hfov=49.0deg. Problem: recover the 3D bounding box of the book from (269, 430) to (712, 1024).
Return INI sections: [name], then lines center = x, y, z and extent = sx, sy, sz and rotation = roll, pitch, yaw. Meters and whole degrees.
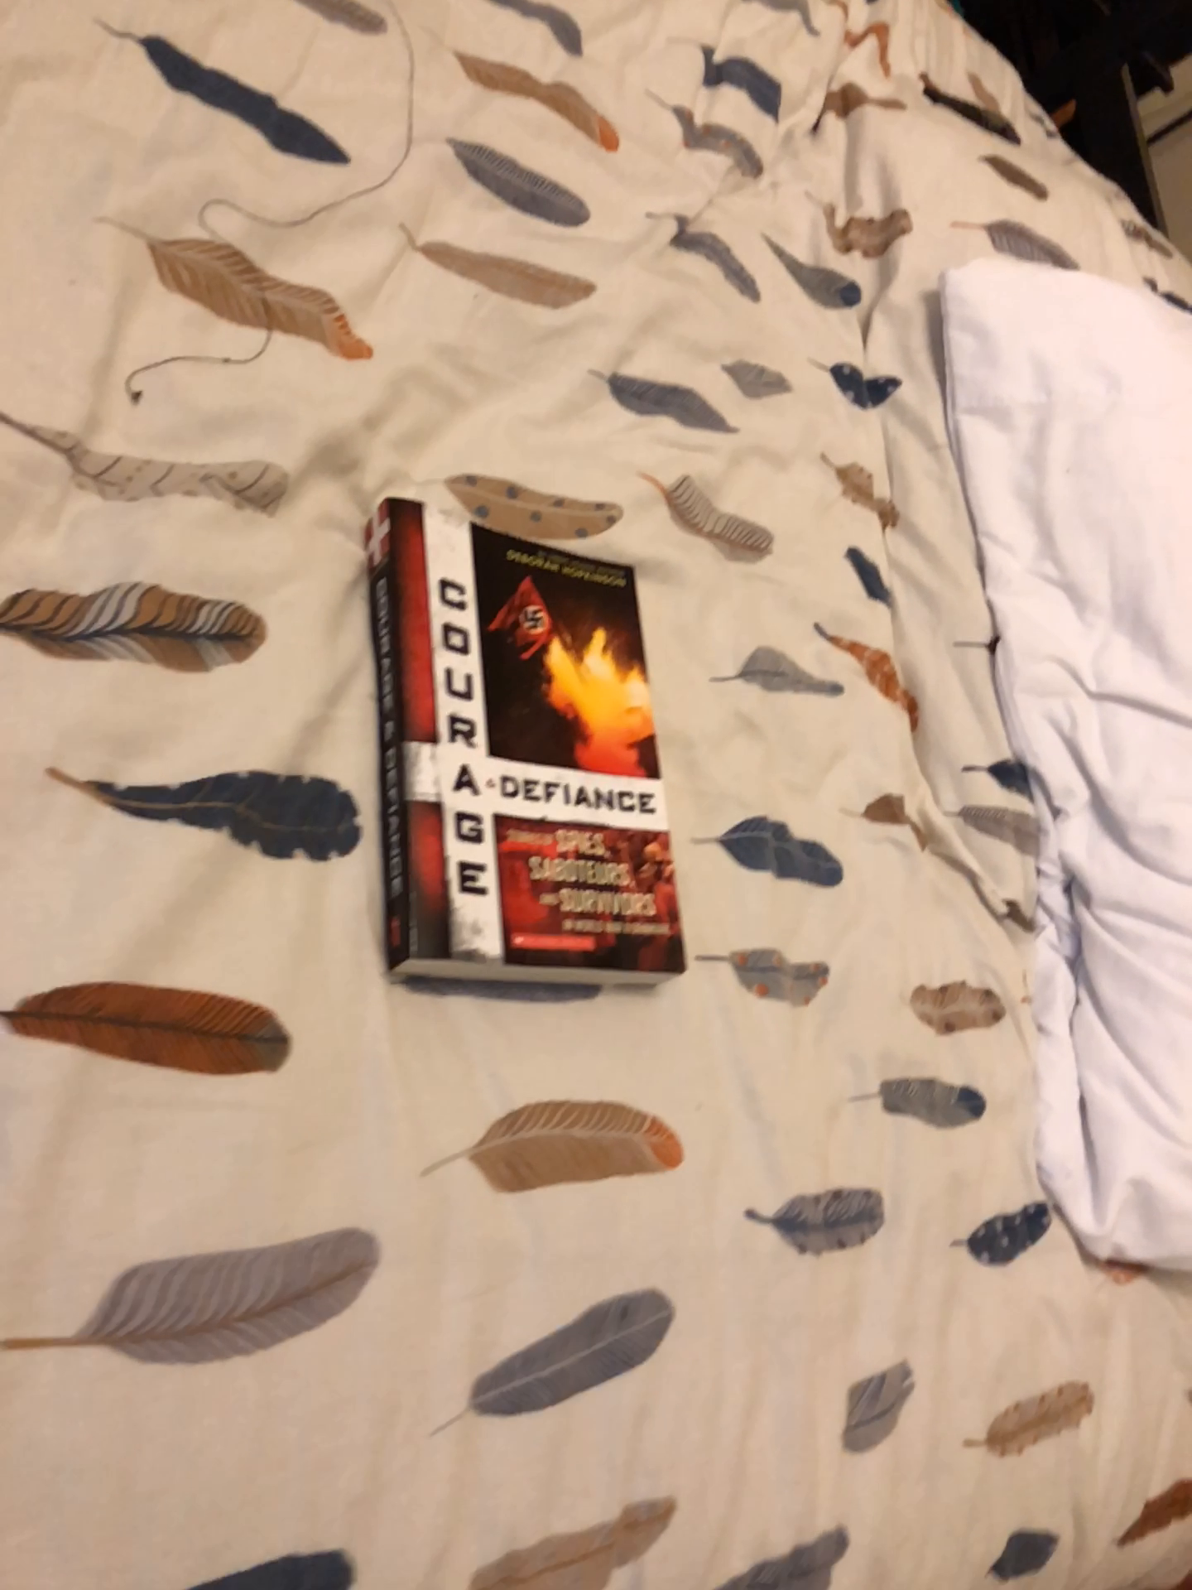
[book]
center = -0.040, -0.020, 0.558
extent = 0.201, 0.020, 0.230
rotation = 9, 67, -43
